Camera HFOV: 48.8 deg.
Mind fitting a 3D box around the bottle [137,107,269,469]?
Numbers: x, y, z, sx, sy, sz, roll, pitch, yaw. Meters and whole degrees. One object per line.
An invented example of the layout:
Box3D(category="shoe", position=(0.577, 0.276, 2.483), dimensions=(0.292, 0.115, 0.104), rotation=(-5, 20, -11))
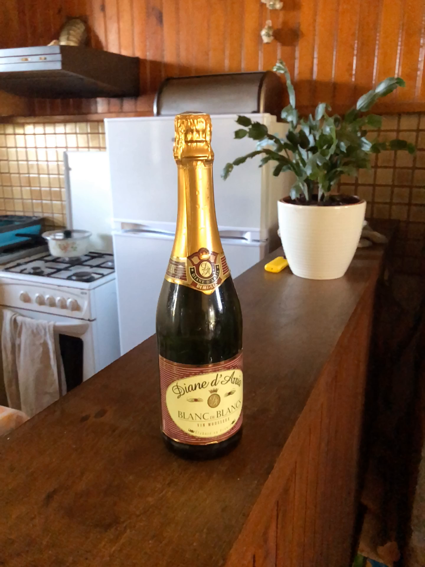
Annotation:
Box3D(category="bottle", position=(-0.012, 0.002, 0.427), dimensions=(0.090, 0.299, 0.100), rotation=(-4, 17, -12))
